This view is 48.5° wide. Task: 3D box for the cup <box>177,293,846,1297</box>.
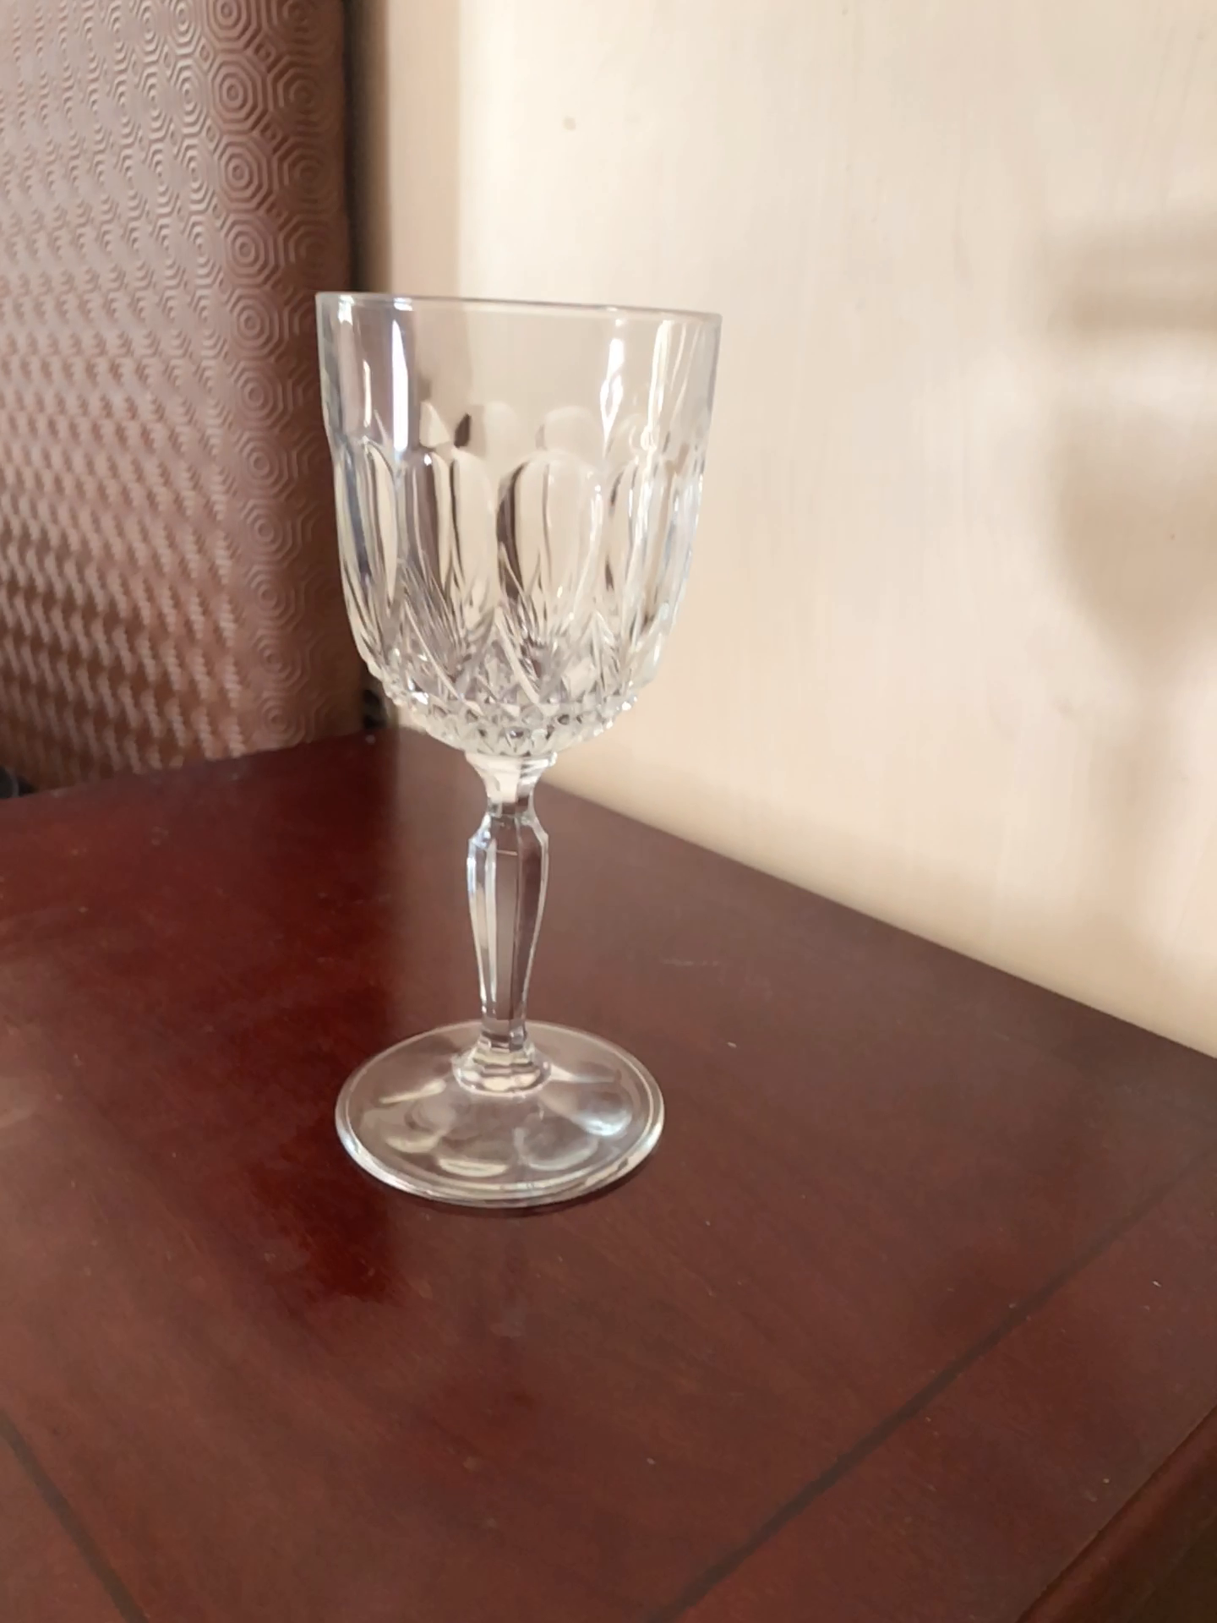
[{"bbox_3d":[-0.024,-0.014,0.292,0.092,0.178,0.096,2,19,-1],"label":"cup"}]
